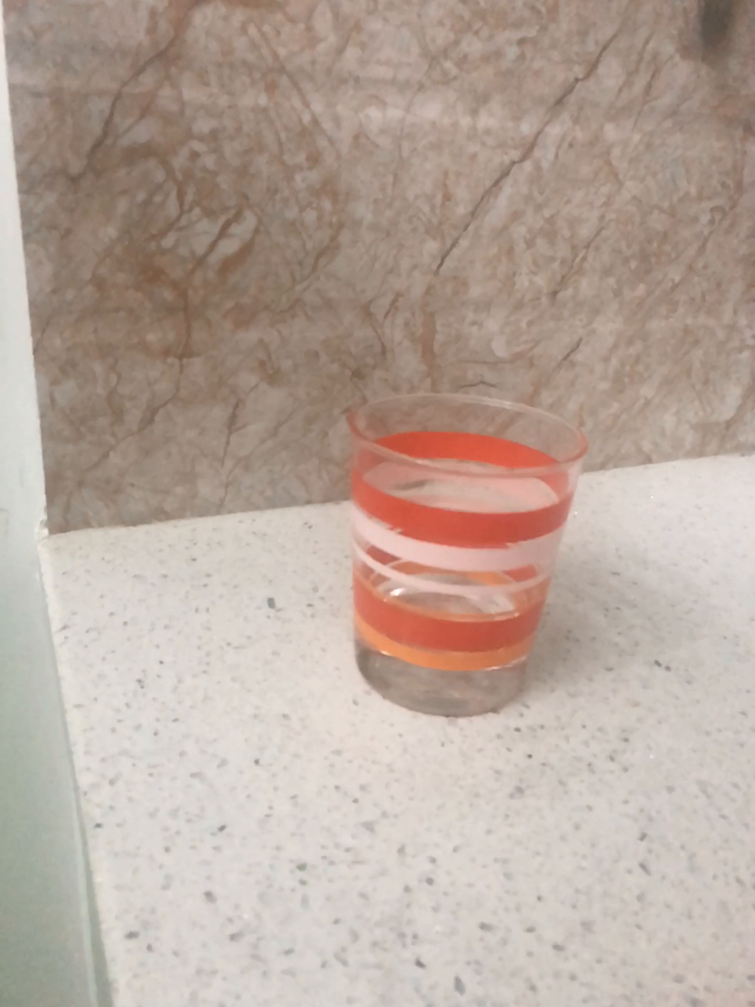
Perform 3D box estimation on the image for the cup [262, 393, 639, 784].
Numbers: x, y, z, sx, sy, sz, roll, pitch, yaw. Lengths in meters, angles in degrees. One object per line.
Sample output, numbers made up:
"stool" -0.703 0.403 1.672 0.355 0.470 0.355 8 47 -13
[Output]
"cup" 0.019 0.020 0.285 0.090 0.090 0.080 -10 27 -31
